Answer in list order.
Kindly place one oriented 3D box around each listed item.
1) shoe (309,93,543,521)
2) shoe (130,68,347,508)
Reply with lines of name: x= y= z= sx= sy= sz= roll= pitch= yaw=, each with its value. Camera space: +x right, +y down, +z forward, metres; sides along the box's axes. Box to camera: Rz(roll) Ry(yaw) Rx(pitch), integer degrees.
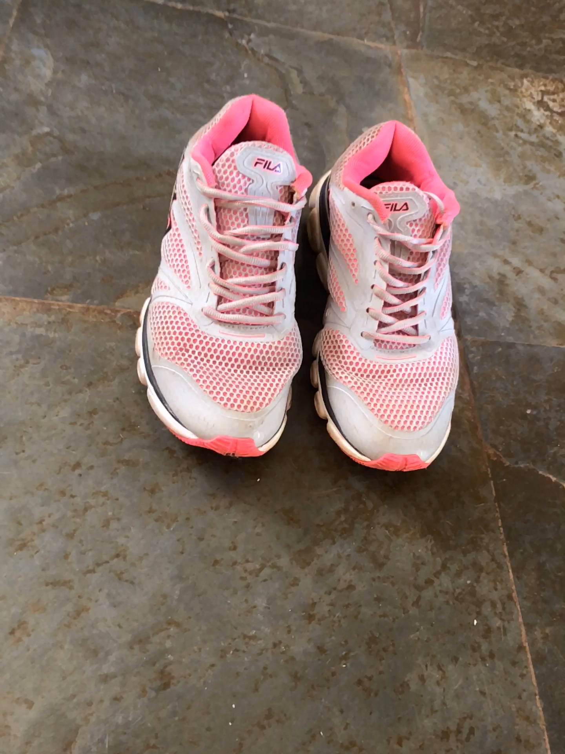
shoe: x=0.086 y=-0.057 z=0.453 sx=0.110 sy=0.099 sz=0.292 roll=7 pitch=61 yaw=-10
shoe: x=-0.033 y=-0.065 z=0.424 sx=0.110 sy=0.099 sz=0.281 roll=5 pitch=61 yaw=-11
